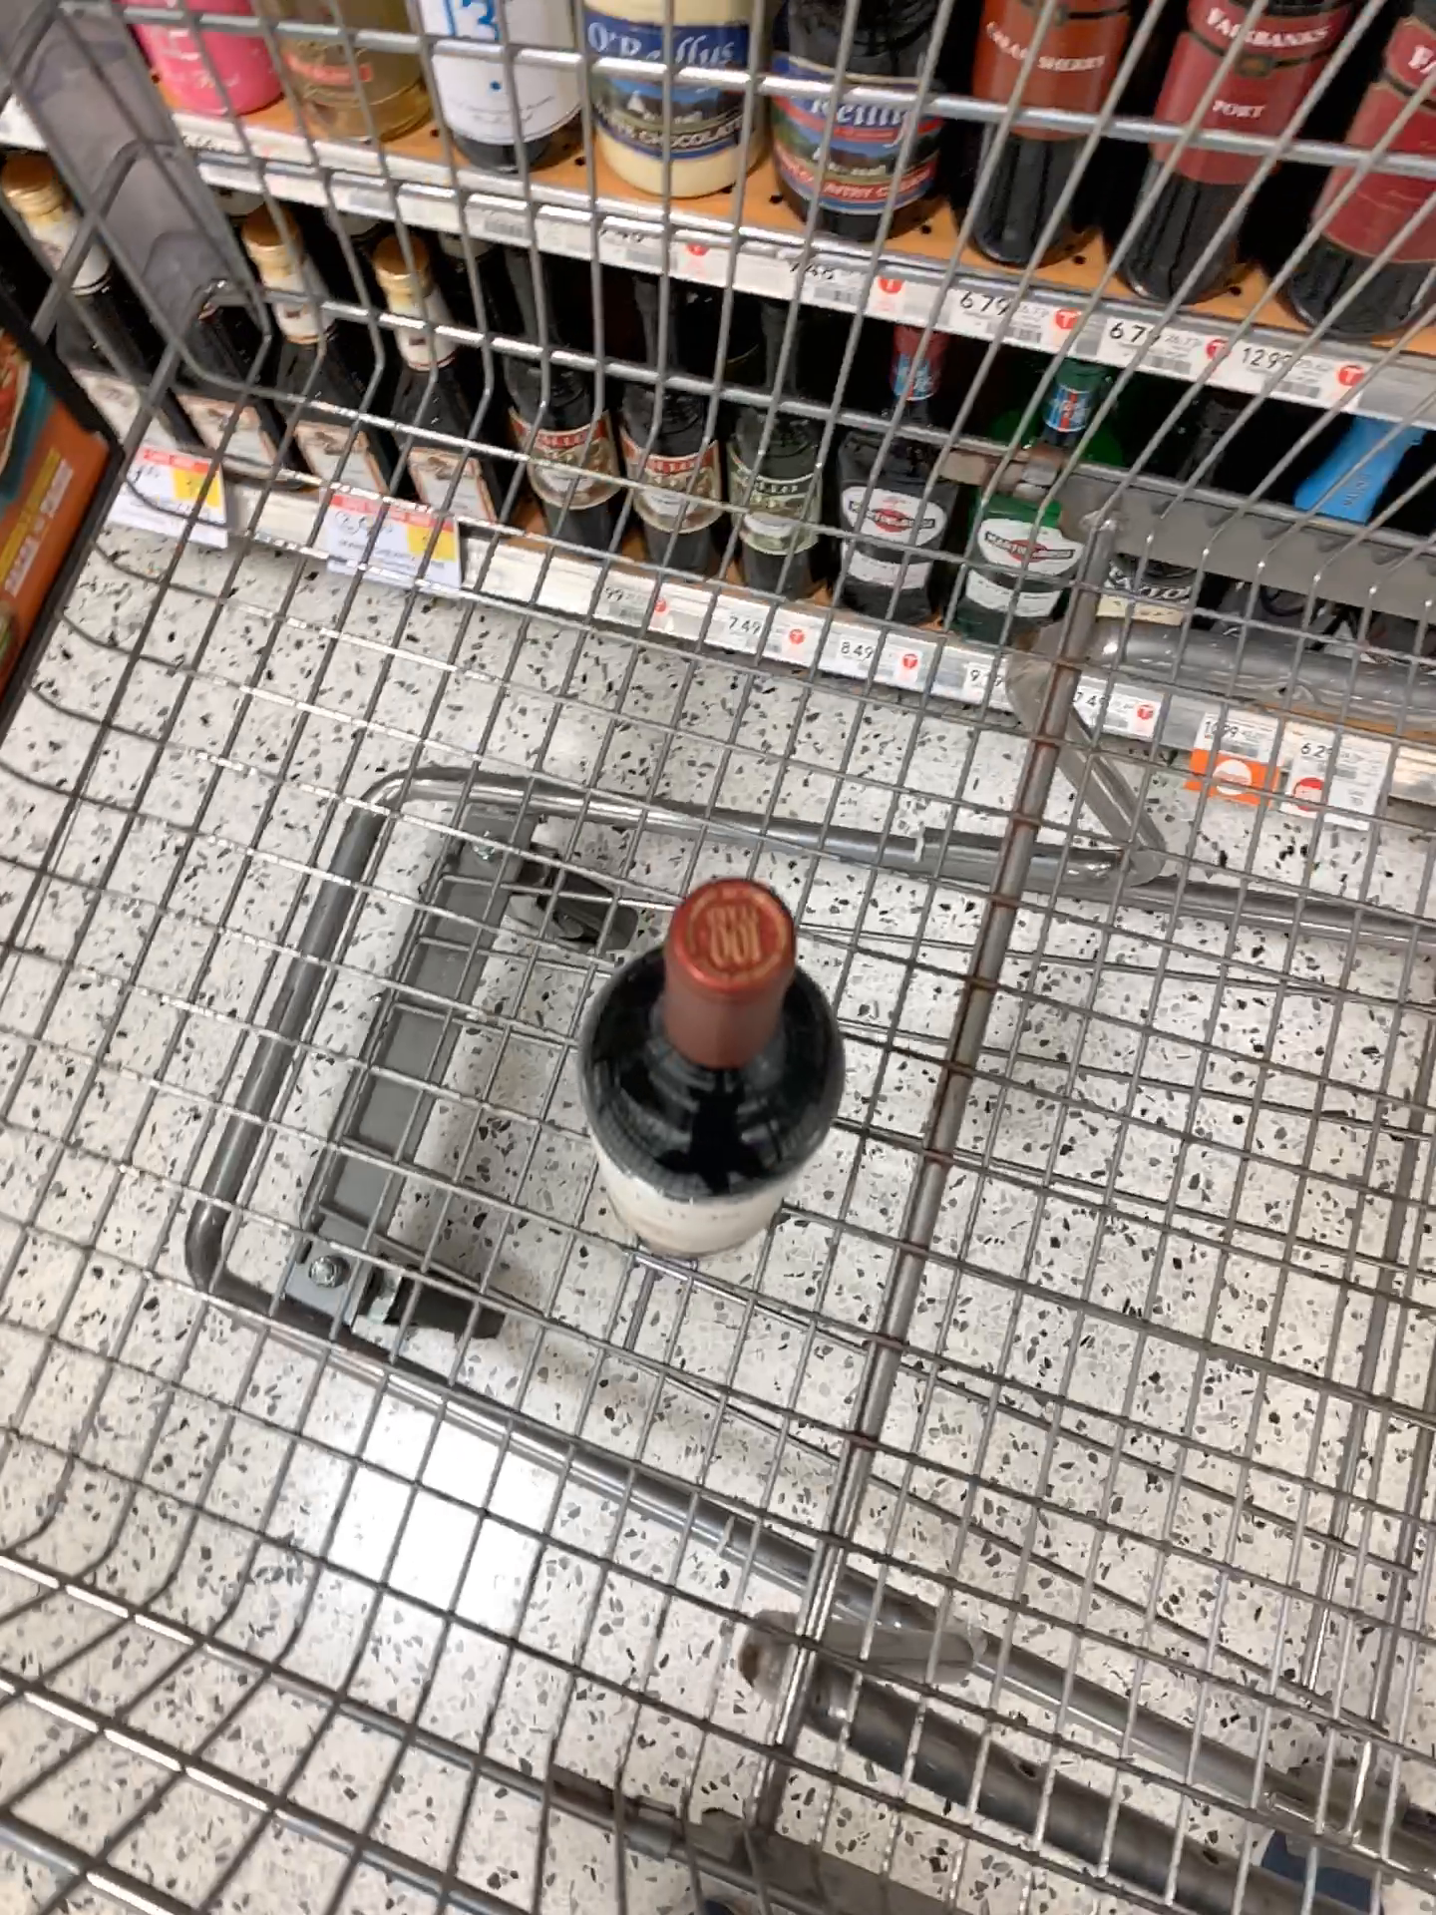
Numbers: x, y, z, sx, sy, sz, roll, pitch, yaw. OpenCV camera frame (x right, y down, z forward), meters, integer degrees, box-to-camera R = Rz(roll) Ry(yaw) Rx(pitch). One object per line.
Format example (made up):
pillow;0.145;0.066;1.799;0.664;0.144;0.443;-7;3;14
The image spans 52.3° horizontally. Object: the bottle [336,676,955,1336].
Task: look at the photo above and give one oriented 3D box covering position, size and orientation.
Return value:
bottle;-0.014;0.042;0.428;0.090;0.299;0.080;38;76;10
